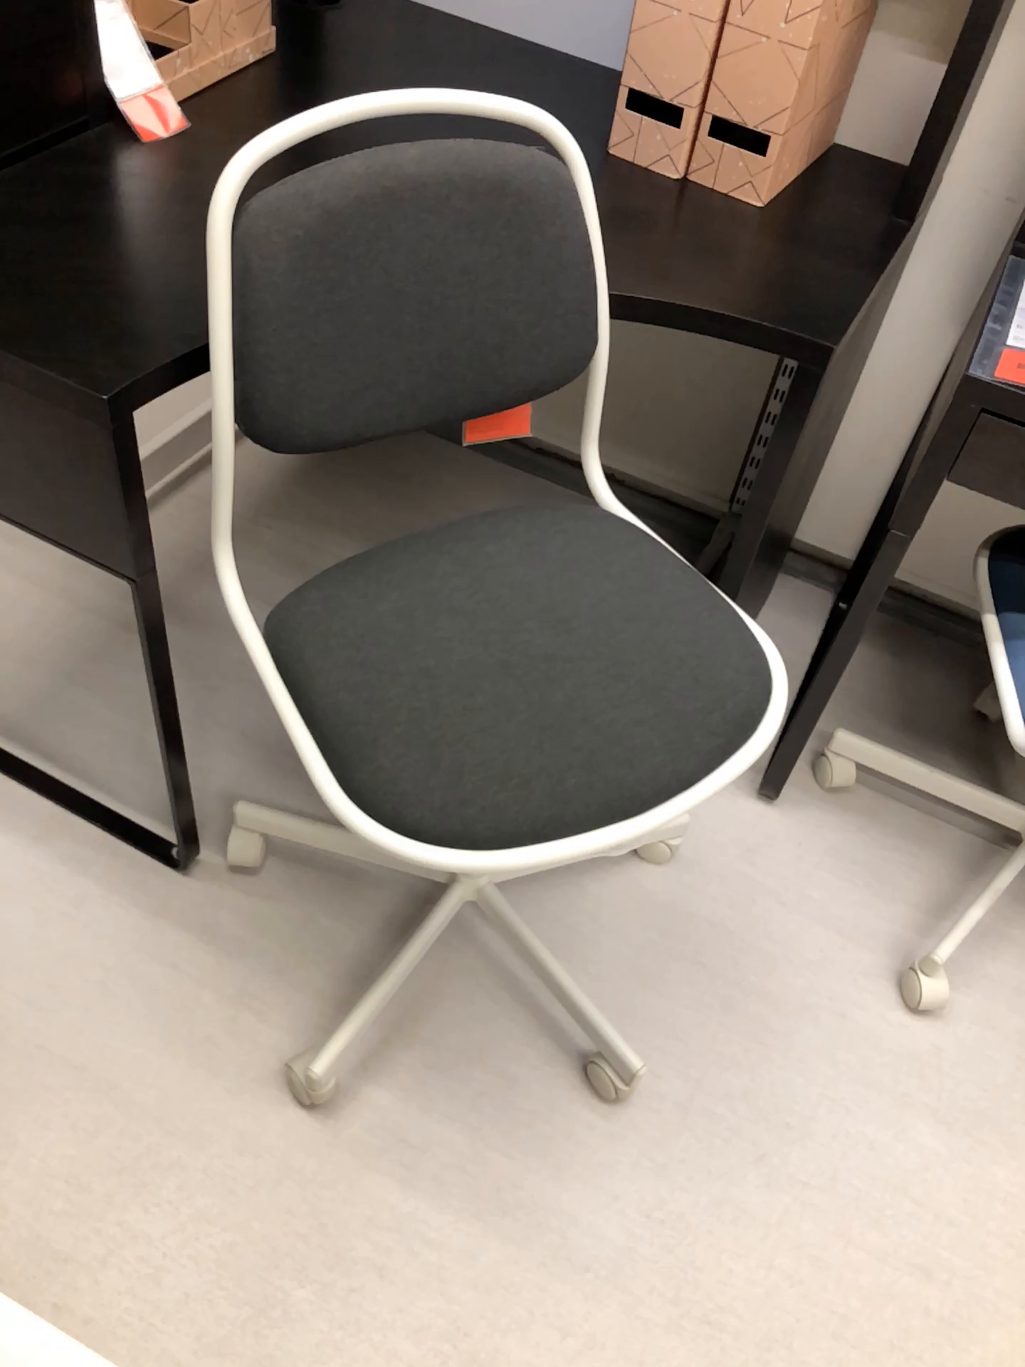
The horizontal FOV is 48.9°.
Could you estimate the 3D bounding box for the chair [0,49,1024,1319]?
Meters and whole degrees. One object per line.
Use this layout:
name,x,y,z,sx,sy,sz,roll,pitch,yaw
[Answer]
chair,-0.024,0.014,1.107,0.662,0.904,0.622,-23,56,-27
